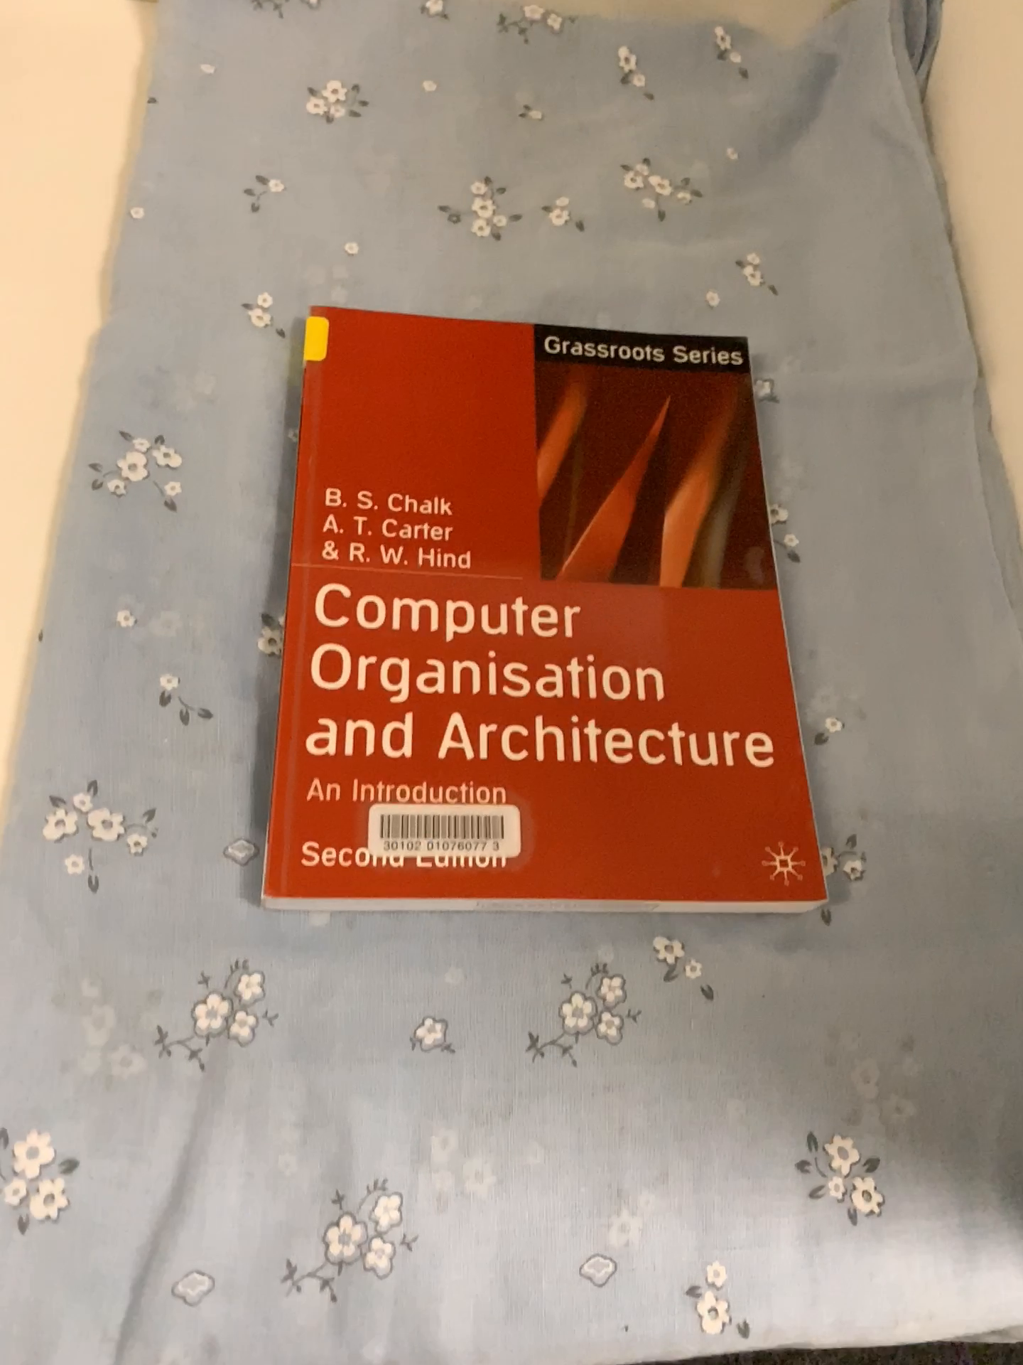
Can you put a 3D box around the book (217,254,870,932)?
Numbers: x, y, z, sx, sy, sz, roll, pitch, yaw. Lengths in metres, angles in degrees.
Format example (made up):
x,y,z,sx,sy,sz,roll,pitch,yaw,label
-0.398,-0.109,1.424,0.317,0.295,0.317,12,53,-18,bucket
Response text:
x,y,z,sx,sy,sz,roll,pitch,yaw,label
0.009,-0.044,0.405,0.210,0.030,0.272,2,65,-8,book
